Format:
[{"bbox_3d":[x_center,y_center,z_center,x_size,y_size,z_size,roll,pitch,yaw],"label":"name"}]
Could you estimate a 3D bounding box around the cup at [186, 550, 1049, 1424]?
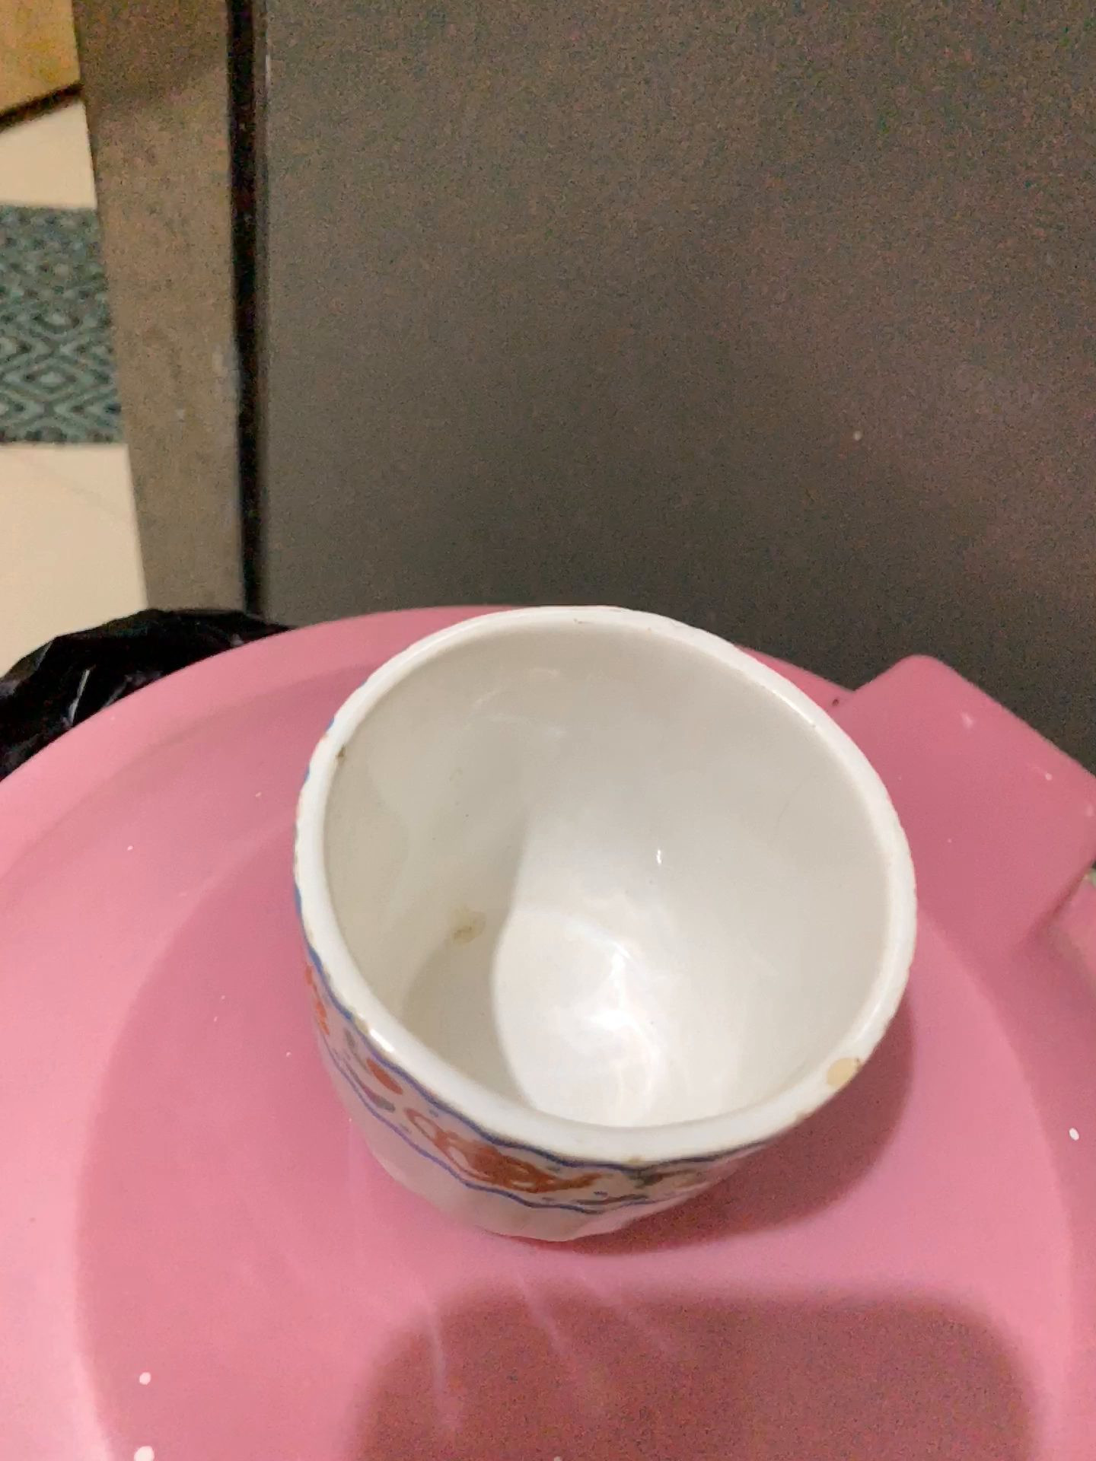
[{"bbox_3d":[0.002,0.030,0.149,0.070,0.060,0.070,7,51,-8],"label":"cup"}]
